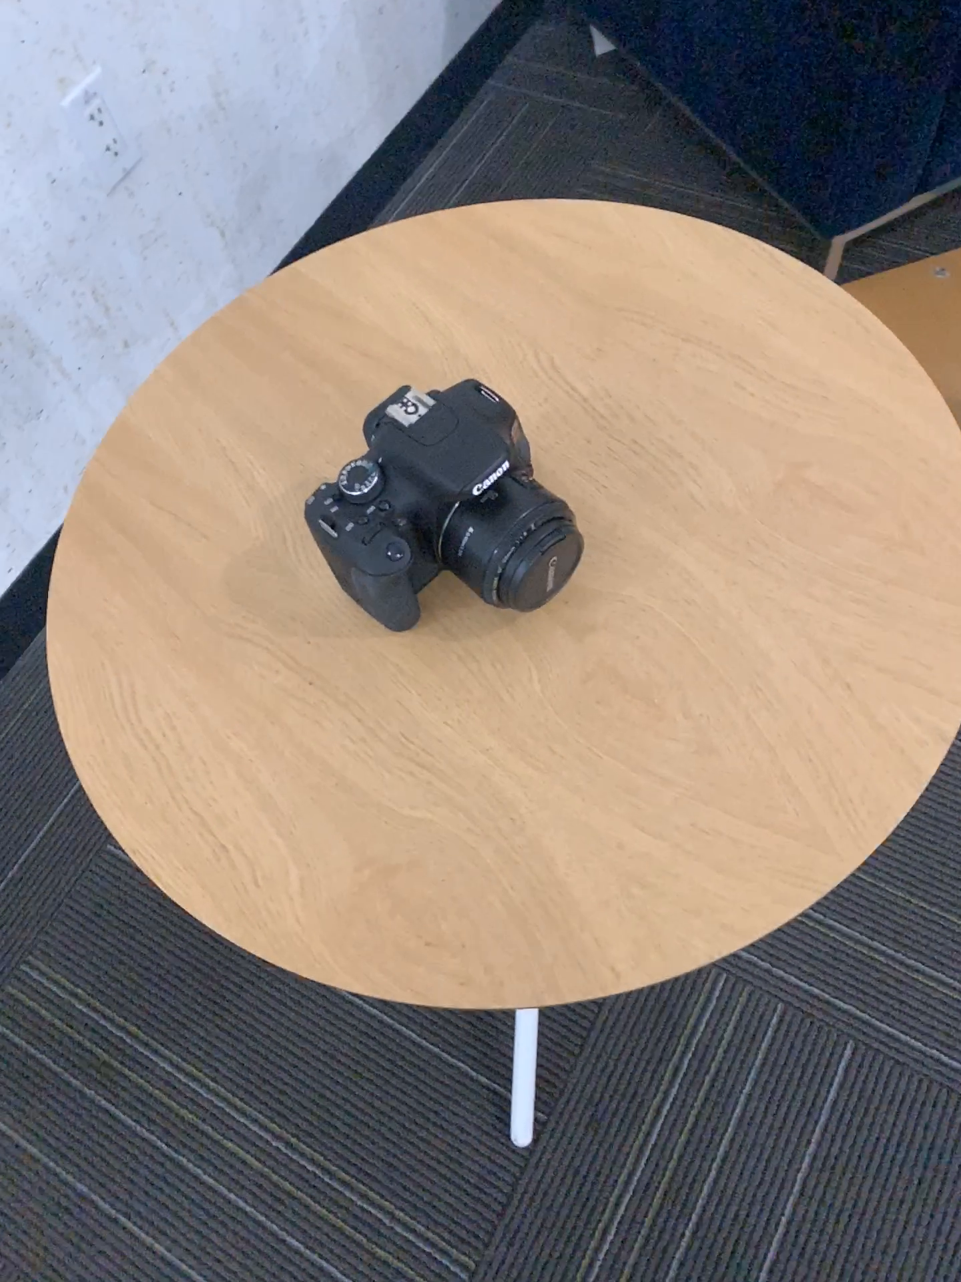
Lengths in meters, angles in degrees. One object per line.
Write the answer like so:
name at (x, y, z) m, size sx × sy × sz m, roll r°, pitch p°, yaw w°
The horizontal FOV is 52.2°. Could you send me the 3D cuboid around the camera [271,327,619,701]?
camera at (-0.013, -0.068, 0.529) m, size 0.130 × 0.100 × 0.117 m, roll -42°, pitch 65°, yaw -14°
